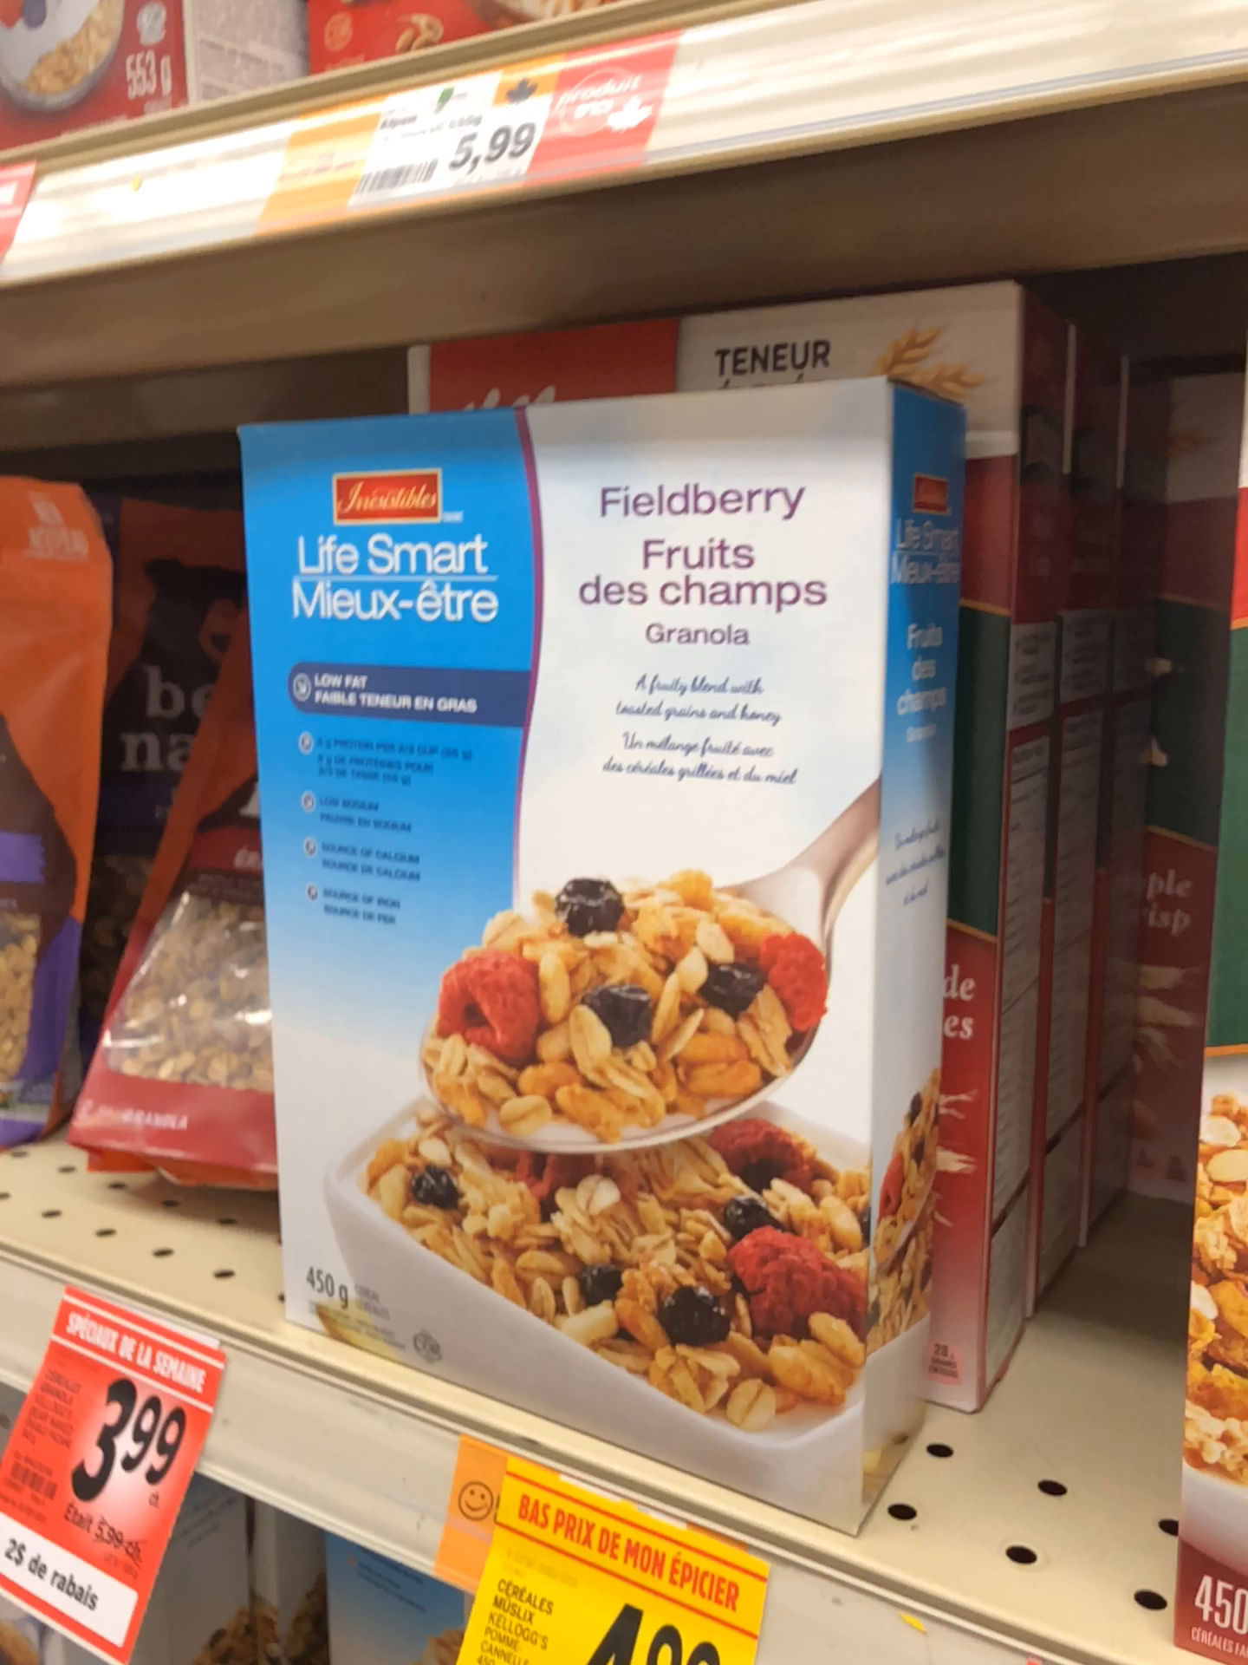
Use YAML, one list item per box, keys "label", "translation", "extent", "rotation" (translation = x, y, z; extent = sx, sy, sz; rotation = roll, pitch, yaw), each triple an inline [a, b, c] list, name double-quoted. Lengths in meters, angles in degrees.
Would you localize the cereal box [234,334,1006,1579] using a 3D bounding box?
- label: "cereal box"
  translation: [-0.007, 0.020, 0.326]
  extent: [0.170, 0.239, 0.050]
  rotation: [6, 11, 32]
